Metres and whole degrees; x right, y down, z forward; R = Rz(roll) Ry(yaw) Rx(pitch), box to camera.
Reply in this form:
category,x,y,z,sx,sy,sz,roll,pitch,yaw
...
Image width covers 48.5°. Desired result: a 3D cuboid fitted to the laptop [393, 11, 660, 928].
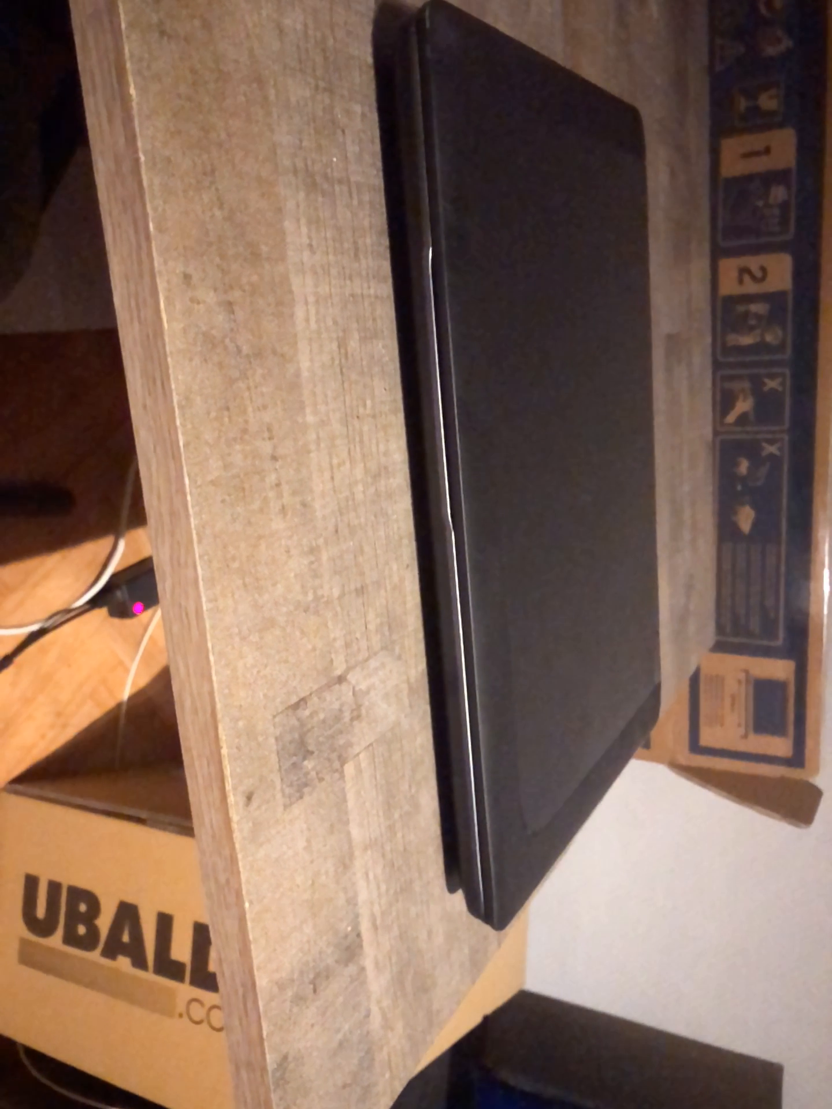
category,x,y,z,sx,sy,sz,roll,pitch,yaw
laptop,0.076,-0.041,0.468,0.242,0.017,0.365,-26,115,-56
